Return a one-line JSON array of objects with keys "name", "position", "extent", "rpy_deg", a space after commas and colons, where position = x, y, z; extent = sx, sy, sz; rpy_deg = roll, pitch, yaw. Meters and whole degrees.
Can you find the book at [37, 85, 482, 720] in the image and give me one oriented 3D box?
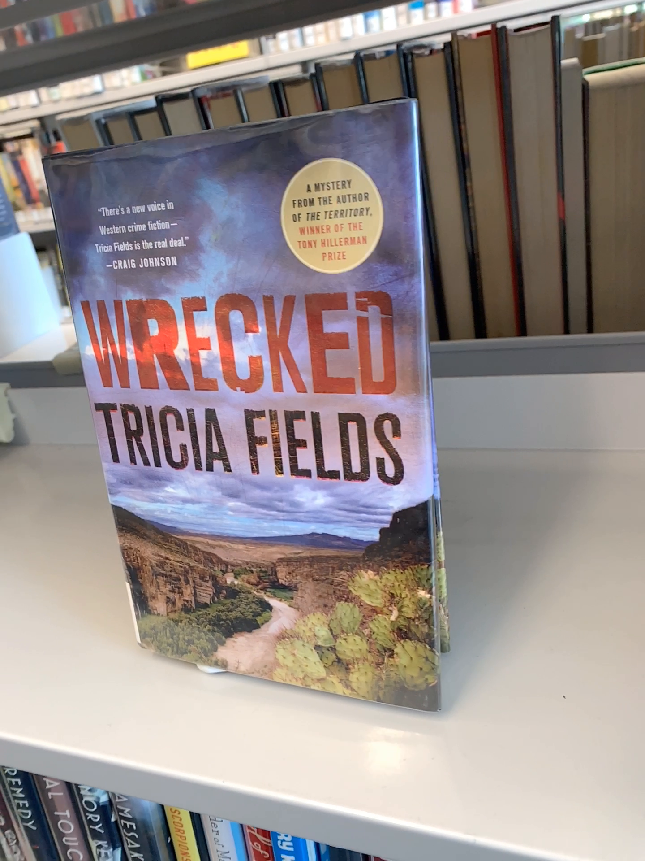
[{"name": "book", "position": [-0.019, -0.002, 0.261], "extent": [0.147, 0.213, 0.035], "rpy_deg": [1, 19, 24]}]
